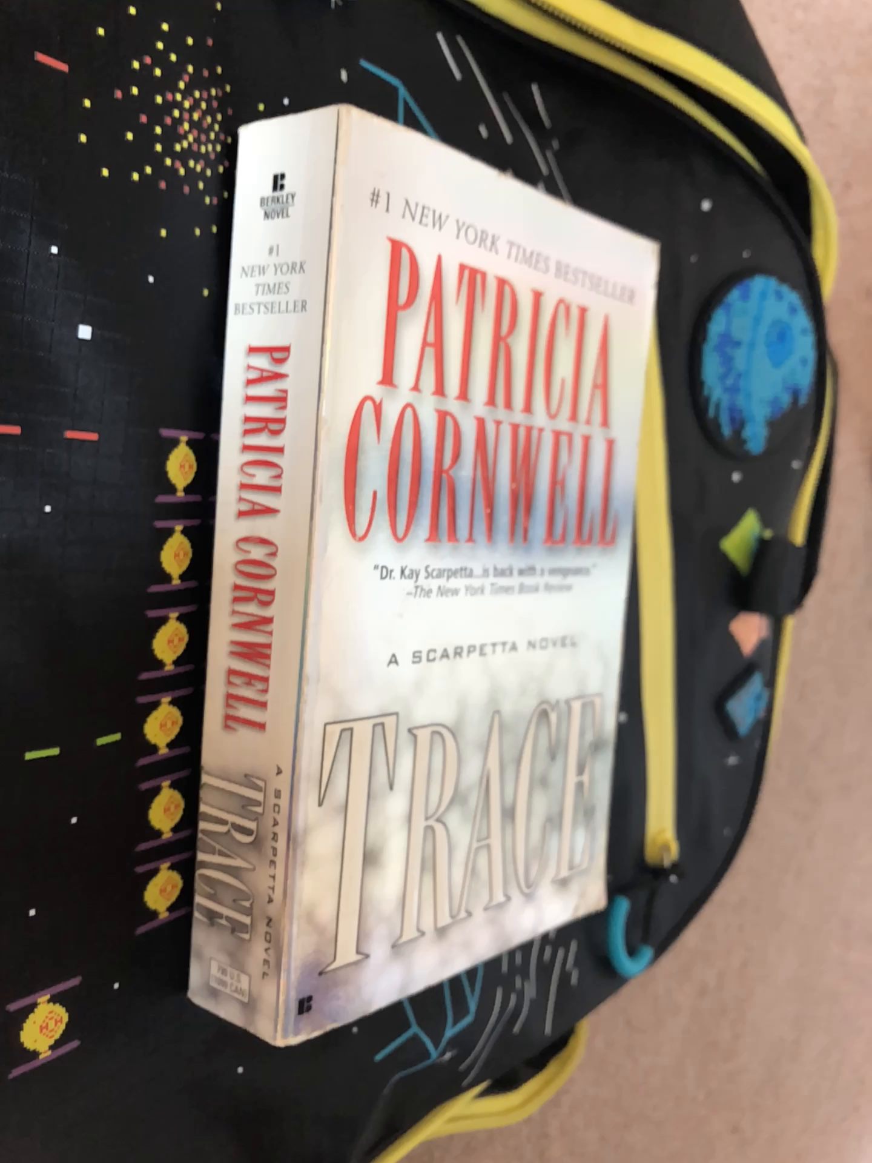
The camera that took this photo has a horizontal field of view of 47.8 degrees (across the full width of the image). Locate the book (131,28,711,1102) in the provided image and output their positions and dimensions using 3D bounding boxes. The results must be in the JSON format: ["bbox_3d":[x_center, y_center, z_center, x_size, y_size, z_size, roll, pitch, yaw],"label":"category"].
[{"bbox_3d":[0.003,-0.002,0.212,0.121,0.040,0.170,-1,97,-45],"label":"book"}]
